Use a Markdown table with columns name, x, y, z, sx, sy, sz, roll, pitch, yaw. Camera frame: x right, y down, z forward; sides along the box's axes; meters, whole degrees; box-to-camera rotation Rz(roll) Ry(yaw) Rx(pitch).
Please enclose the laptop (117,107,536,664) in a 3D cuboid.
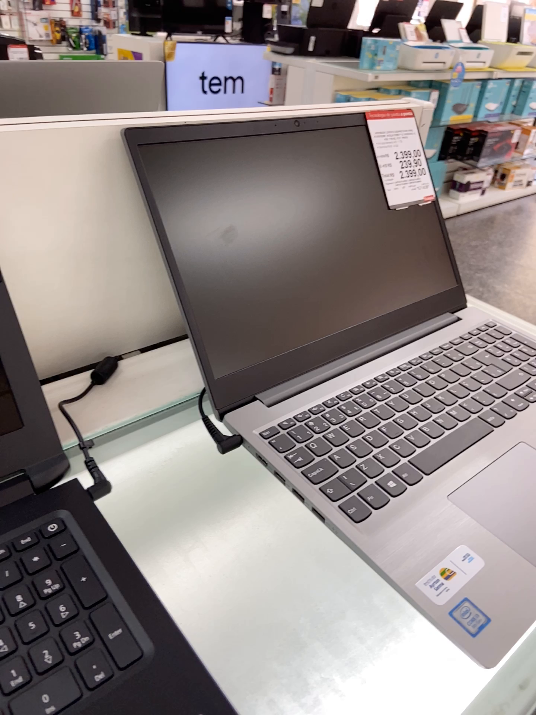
| name | x | y | z | sx | sy | sz | roll | pitch | yaw |
| --- | --- | --- | --- | --- | --- | --- | --- | --- | --- |
| laptop | 0.141 | -0.065 | 0.476 | 0.371 | 0.192 | 0.403 | -20 | 42 | -35 |
